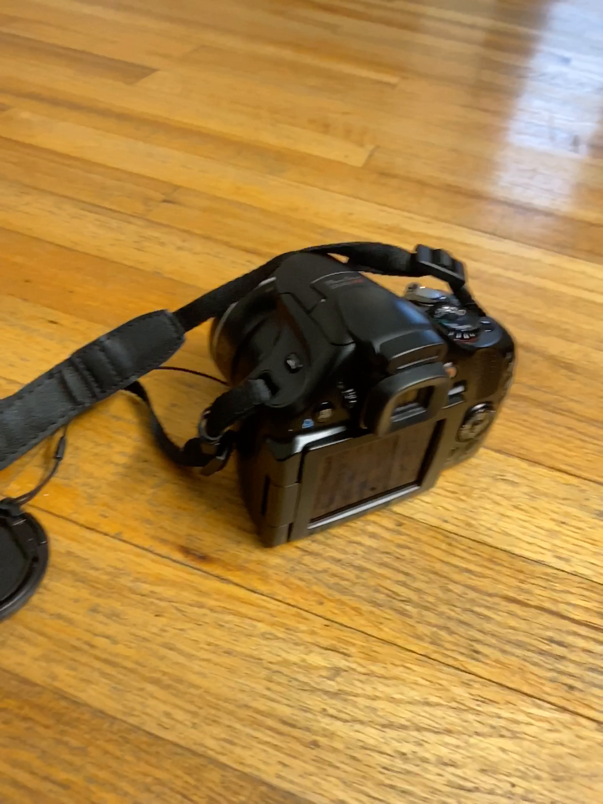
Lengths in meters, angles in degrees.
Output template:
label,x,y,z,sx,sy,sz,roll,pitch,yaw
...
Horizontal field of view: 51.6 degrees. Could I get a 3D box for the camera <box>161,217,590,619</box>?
label,x,y,z,sx,sy,sz,roll,pitch,yaw
camera,0.018,-0.003,0.267,0.120,0.089,0.120,-14,48,-24
